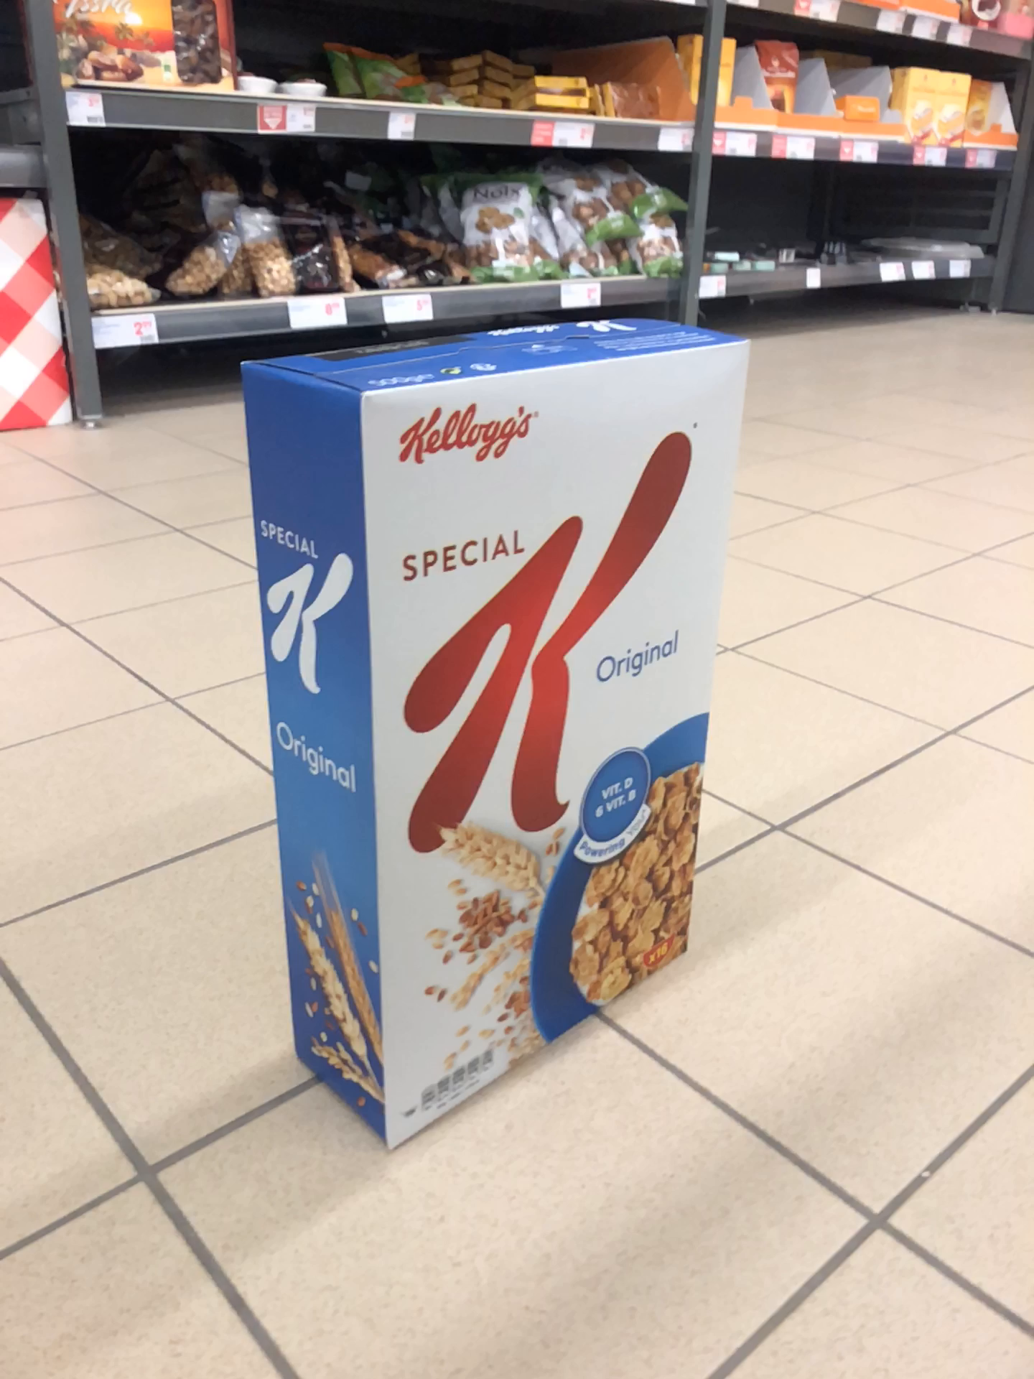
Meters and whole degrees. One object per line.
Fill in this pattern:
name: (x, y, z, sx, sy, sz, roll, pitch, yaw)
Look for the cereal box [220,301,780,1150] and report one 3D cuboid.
cereal box: (0.002, 0.004, 0.472, 0.211, 0.298, 0.070, -19, 30, -39)
